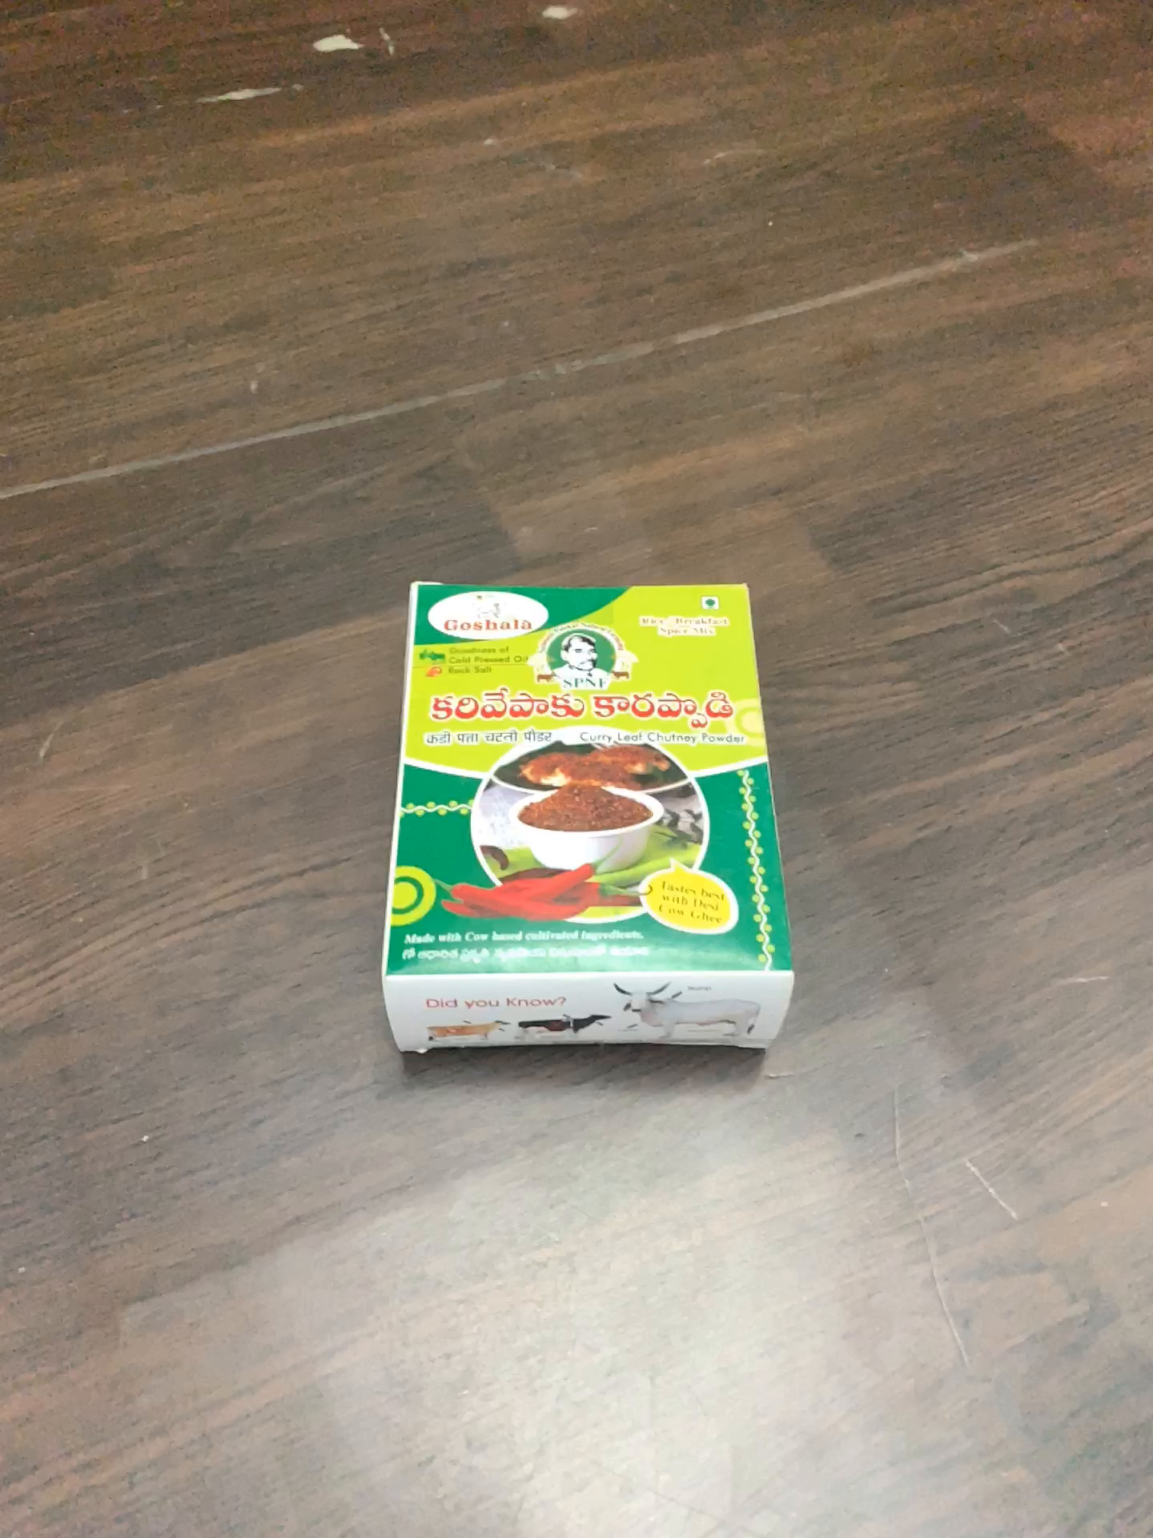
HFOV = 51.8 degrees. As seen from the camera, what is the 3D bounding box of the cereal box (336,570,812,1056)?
[{"bbox_3d":[-0.001,0.007,0.301,0.100,0.040,0.120,0,54,0],"label":"cereal box"}]
